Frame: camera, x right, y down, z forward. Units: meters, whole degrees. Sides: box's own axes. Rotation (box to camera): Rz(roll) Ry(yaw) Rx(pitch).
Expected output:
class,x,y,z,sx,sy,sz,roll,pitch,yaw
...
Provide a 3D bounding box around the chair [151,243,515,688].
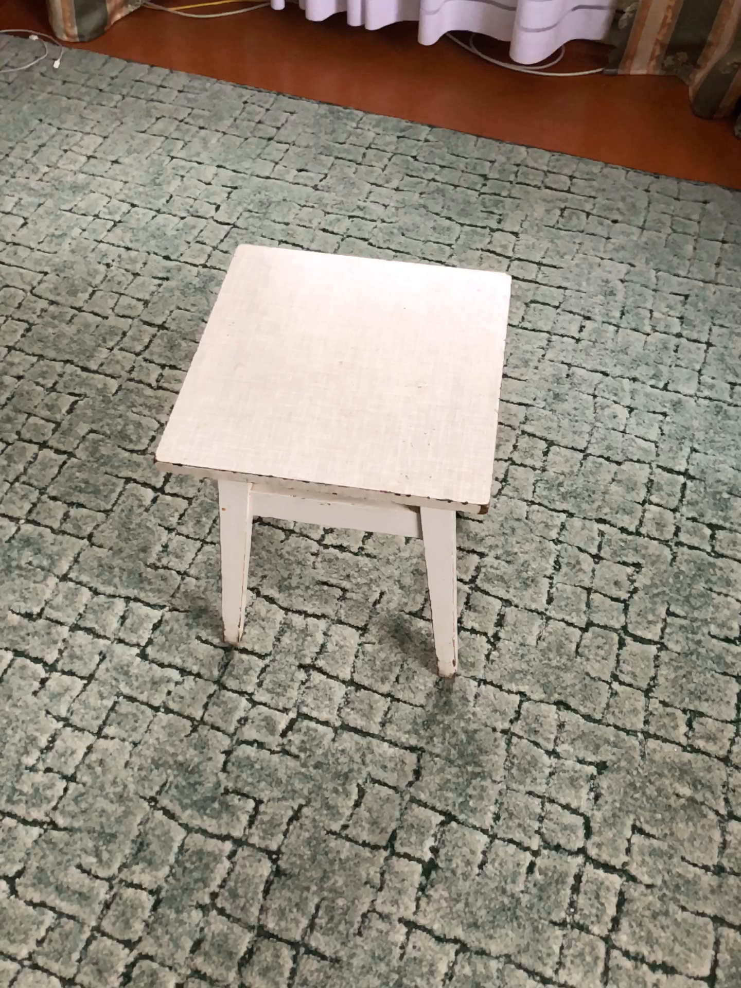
class,x,y,z,sx,sy,sz,roll,pitch,yaw
chair,-0.024,-0.015,1.049,0.332,0.447,0.336,8,56,5
